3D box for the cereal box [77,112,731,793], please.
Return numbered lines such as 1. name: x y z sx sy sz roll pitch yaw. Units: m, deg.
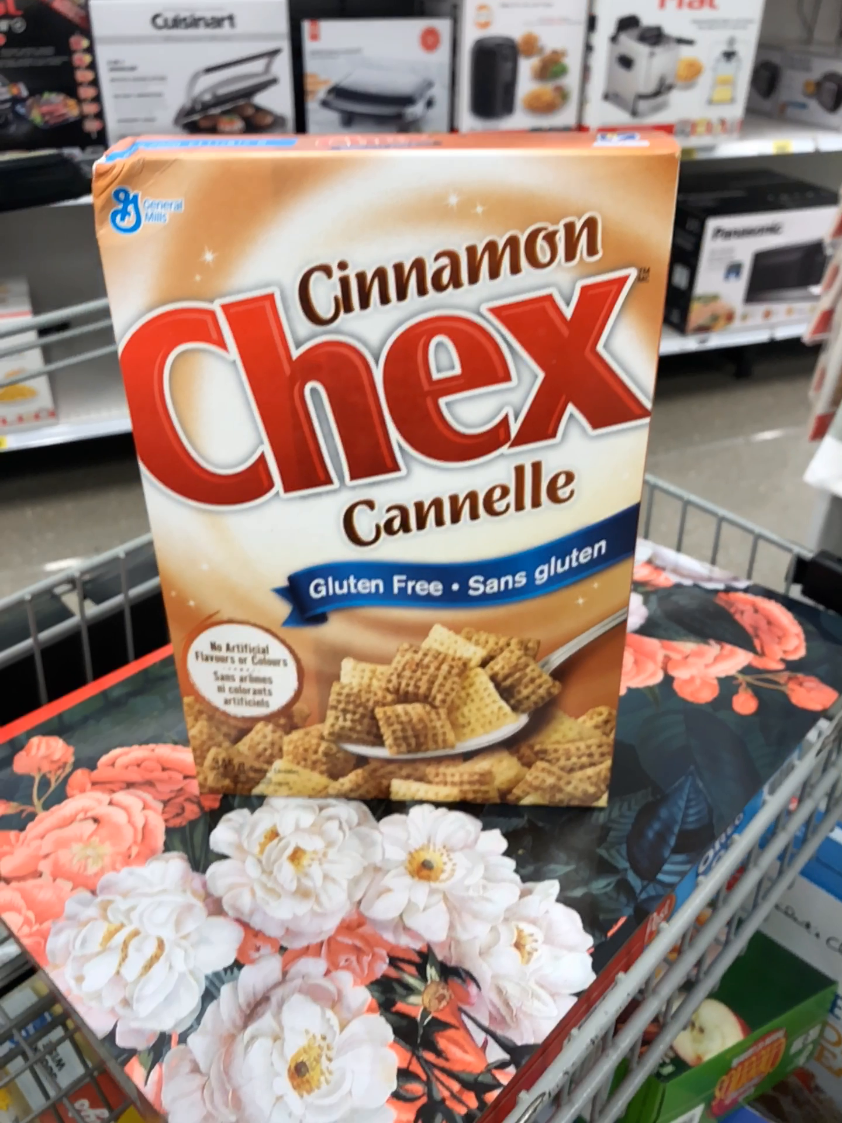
1. cereal box: -0.008 -0.031 0.374 0.200 0.259 0.060 1 27 0
